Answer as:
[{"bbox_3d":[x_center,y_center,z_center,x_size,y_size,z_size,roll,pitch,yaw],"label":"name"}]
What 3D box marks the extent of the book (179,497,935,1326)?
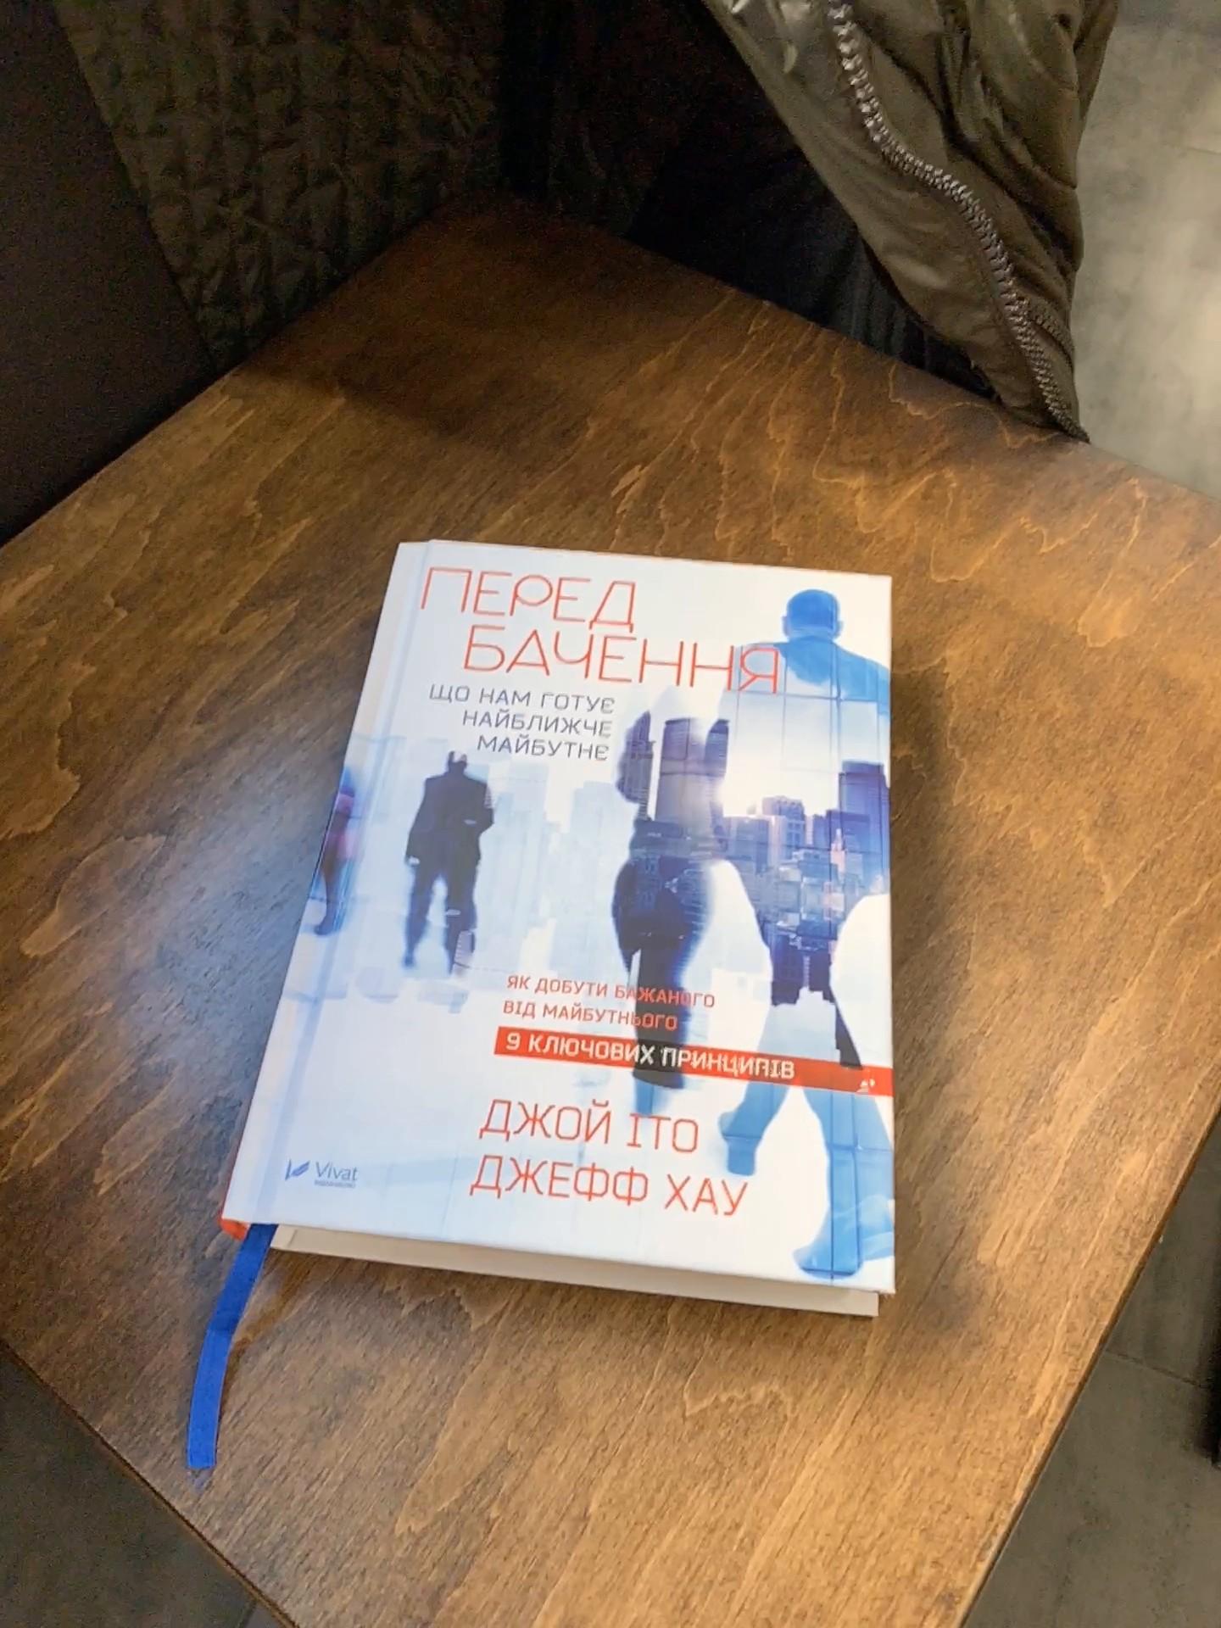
[{"bbox_3d":[-0.001,0.012,0.314,0.149,0.040,0.196,5,59,3],"label":"book"}]
